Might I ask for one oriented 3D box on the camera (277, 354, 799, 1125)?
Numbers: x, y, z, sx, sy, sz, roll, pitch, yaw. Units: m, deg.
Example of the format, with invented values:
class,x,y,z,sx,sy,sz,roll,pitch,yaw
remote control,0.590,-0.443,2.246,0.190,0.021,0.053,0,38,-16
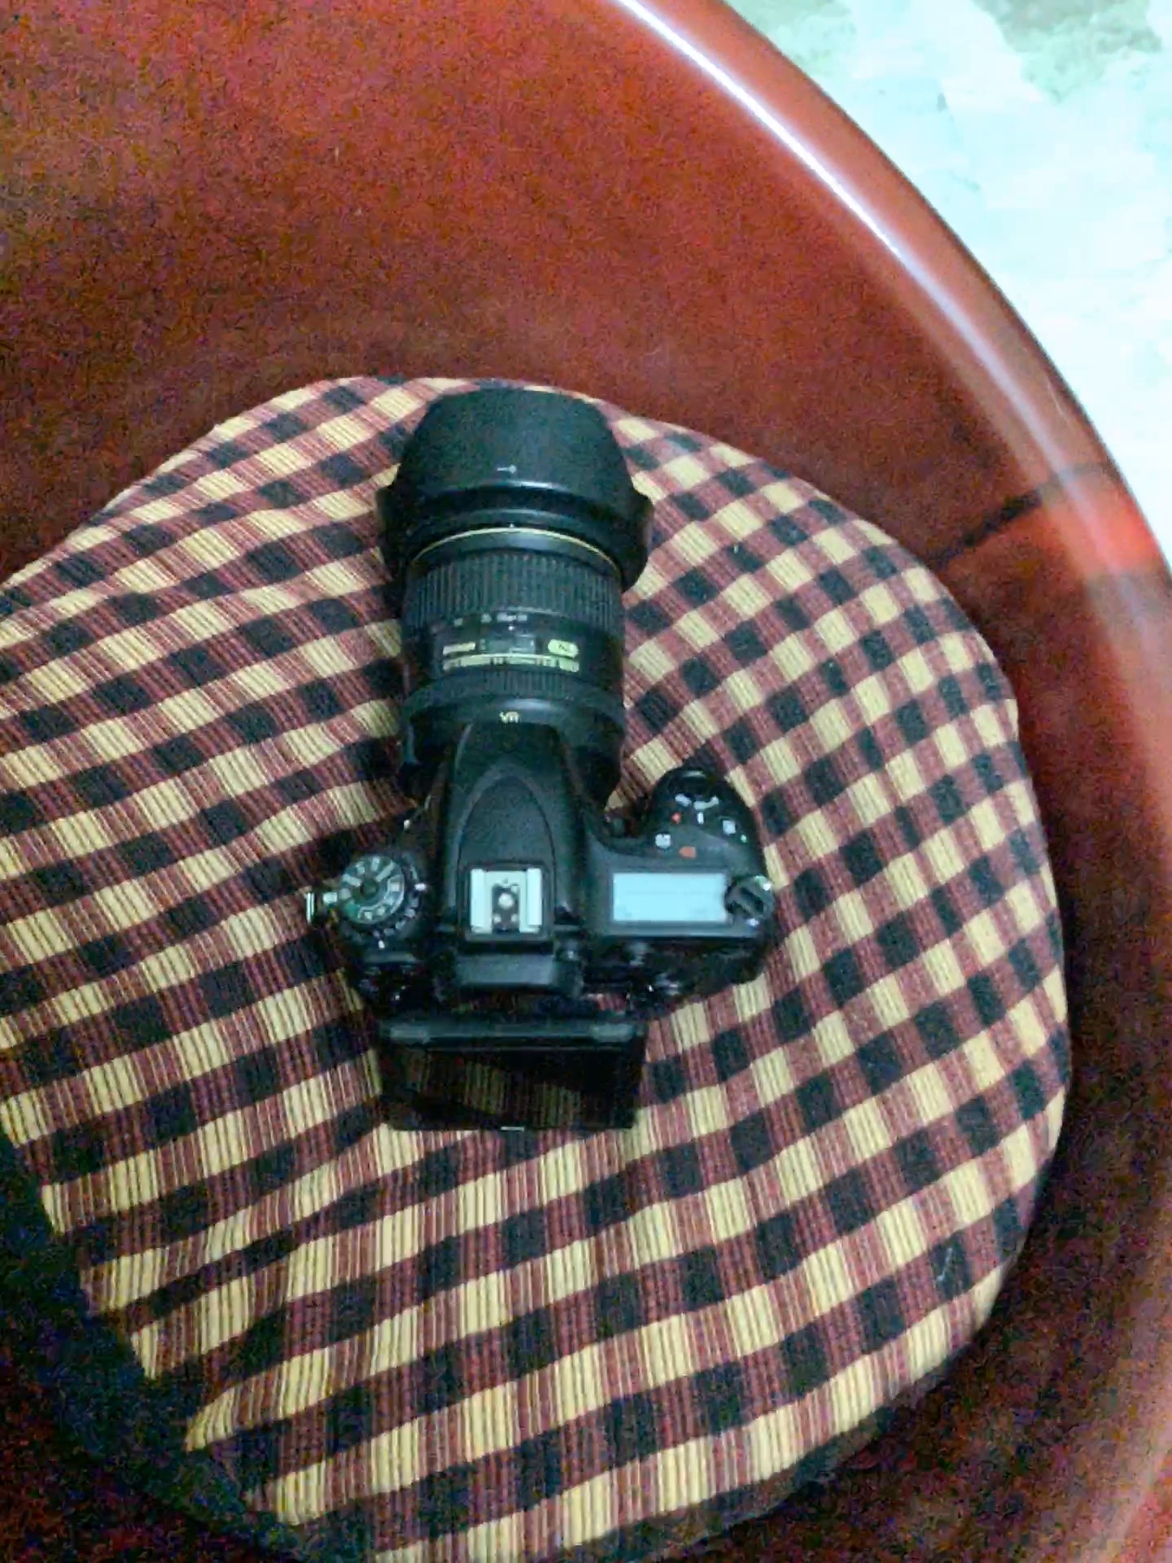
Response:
class,x,y,z,sx,sy,sz,roll,pitch,yaw
camera,-0.014,-0.016,0.419,0.140,0.101,0.250,0,66,0
